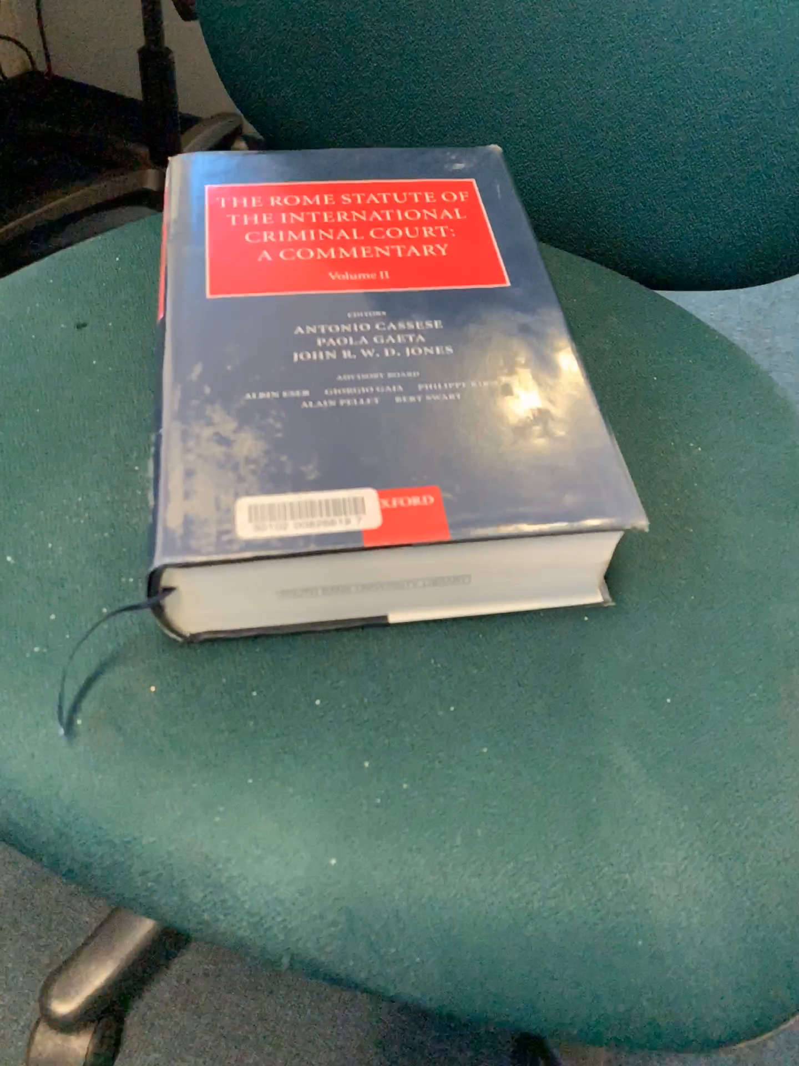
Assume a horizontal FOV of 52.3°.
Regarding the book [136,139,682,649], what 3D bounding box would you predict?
[{"bbox_3d":[-0.013,-0.085,0.380,0.188,0.069,0.258,-4,53,-8],"label":"book"}]
